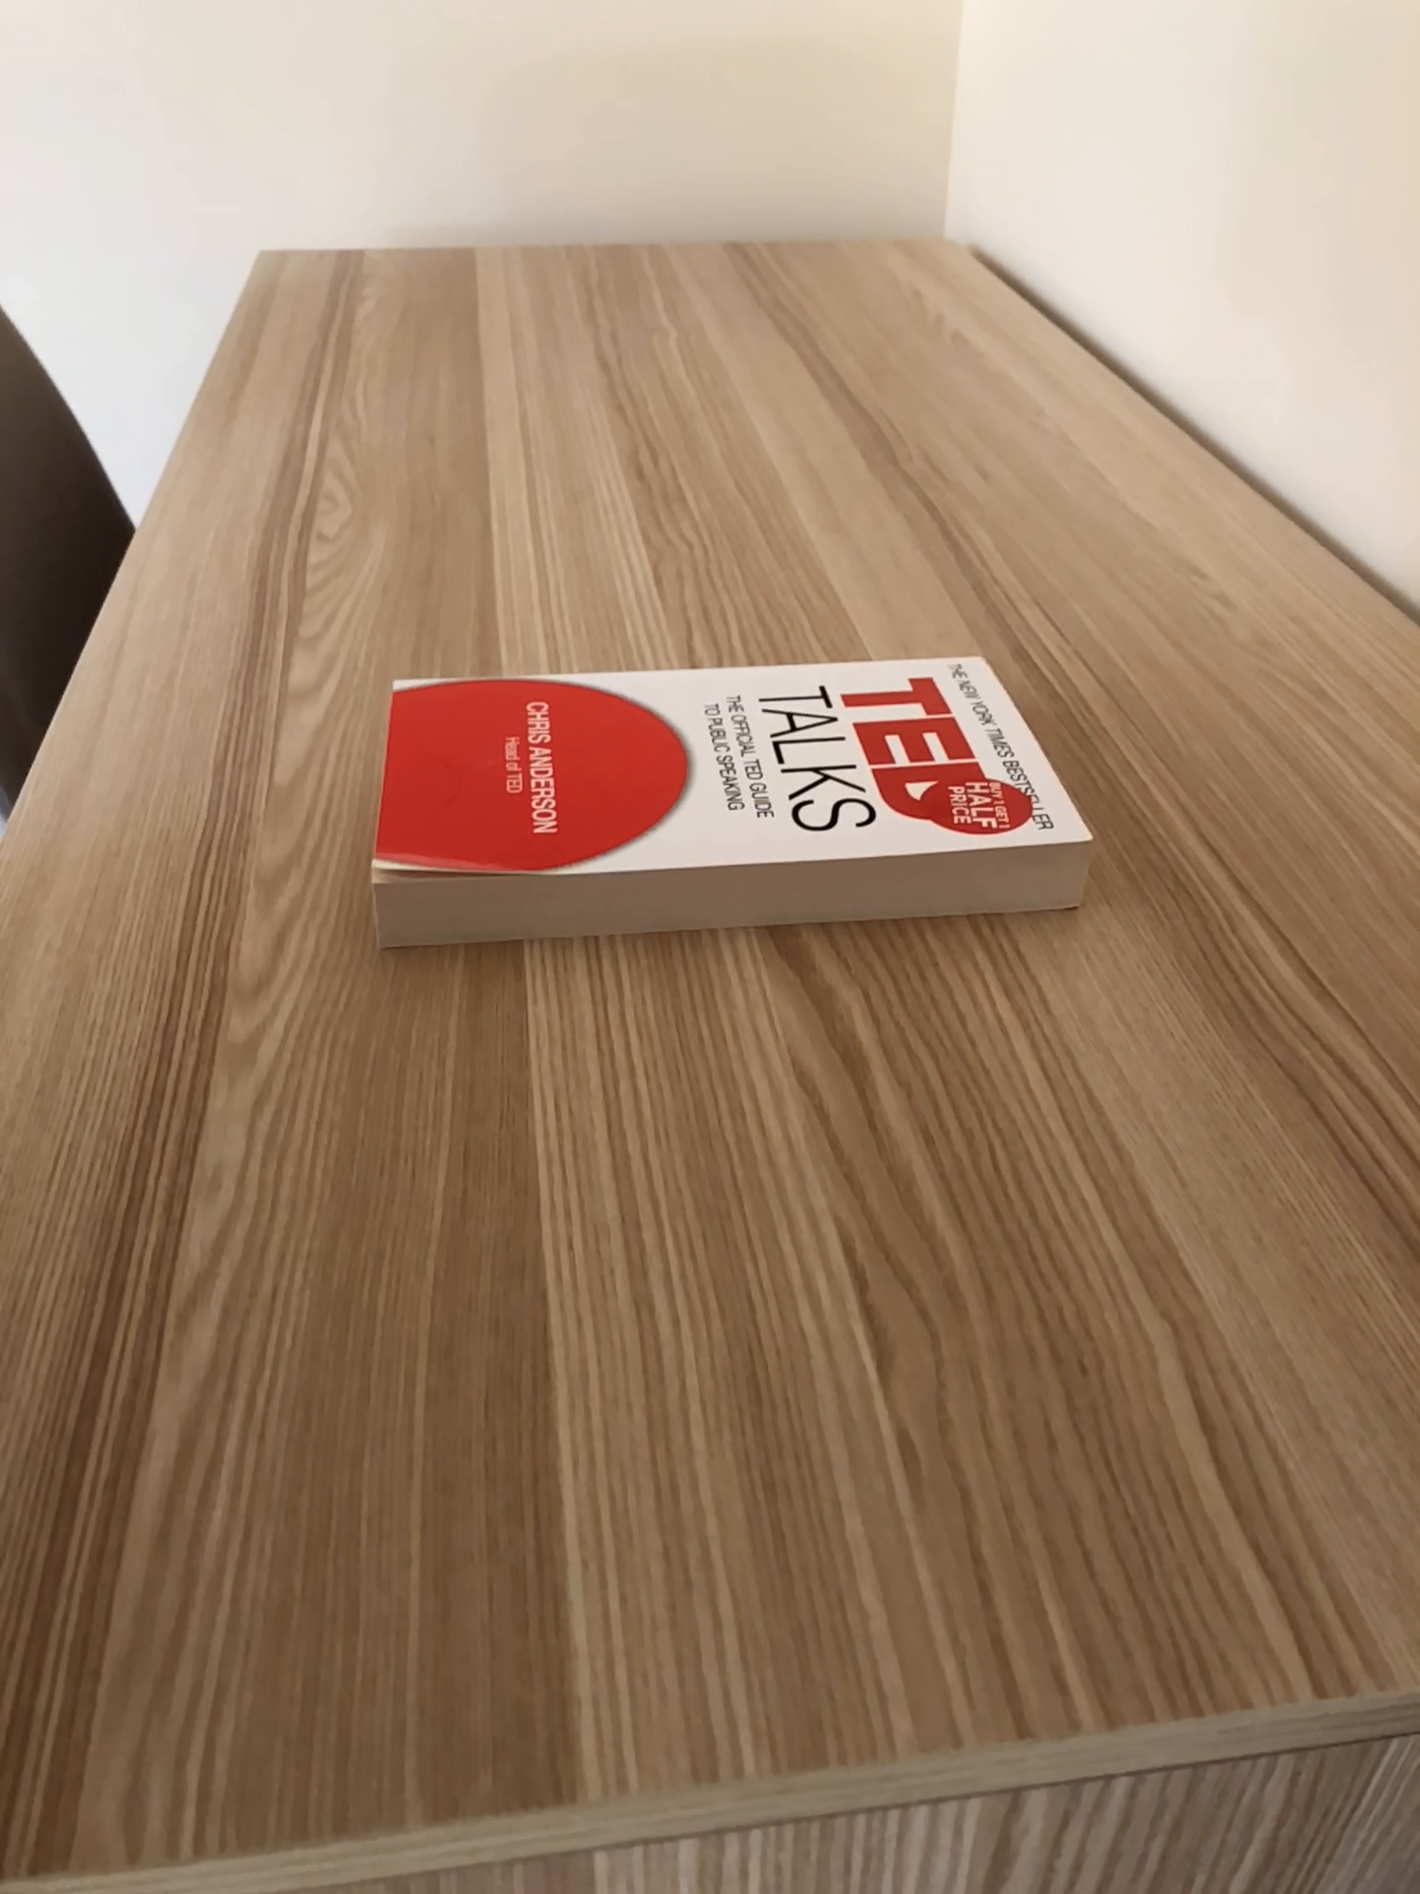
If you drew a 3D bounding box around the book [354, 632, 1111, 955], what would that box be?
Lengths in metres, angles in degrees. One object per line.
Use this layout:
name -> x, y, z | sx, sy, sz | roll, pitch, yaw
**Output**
book -> 0.002, -0.056, 0.516 | 0.220, 0.030, 0.139 | -4, 35, -5
